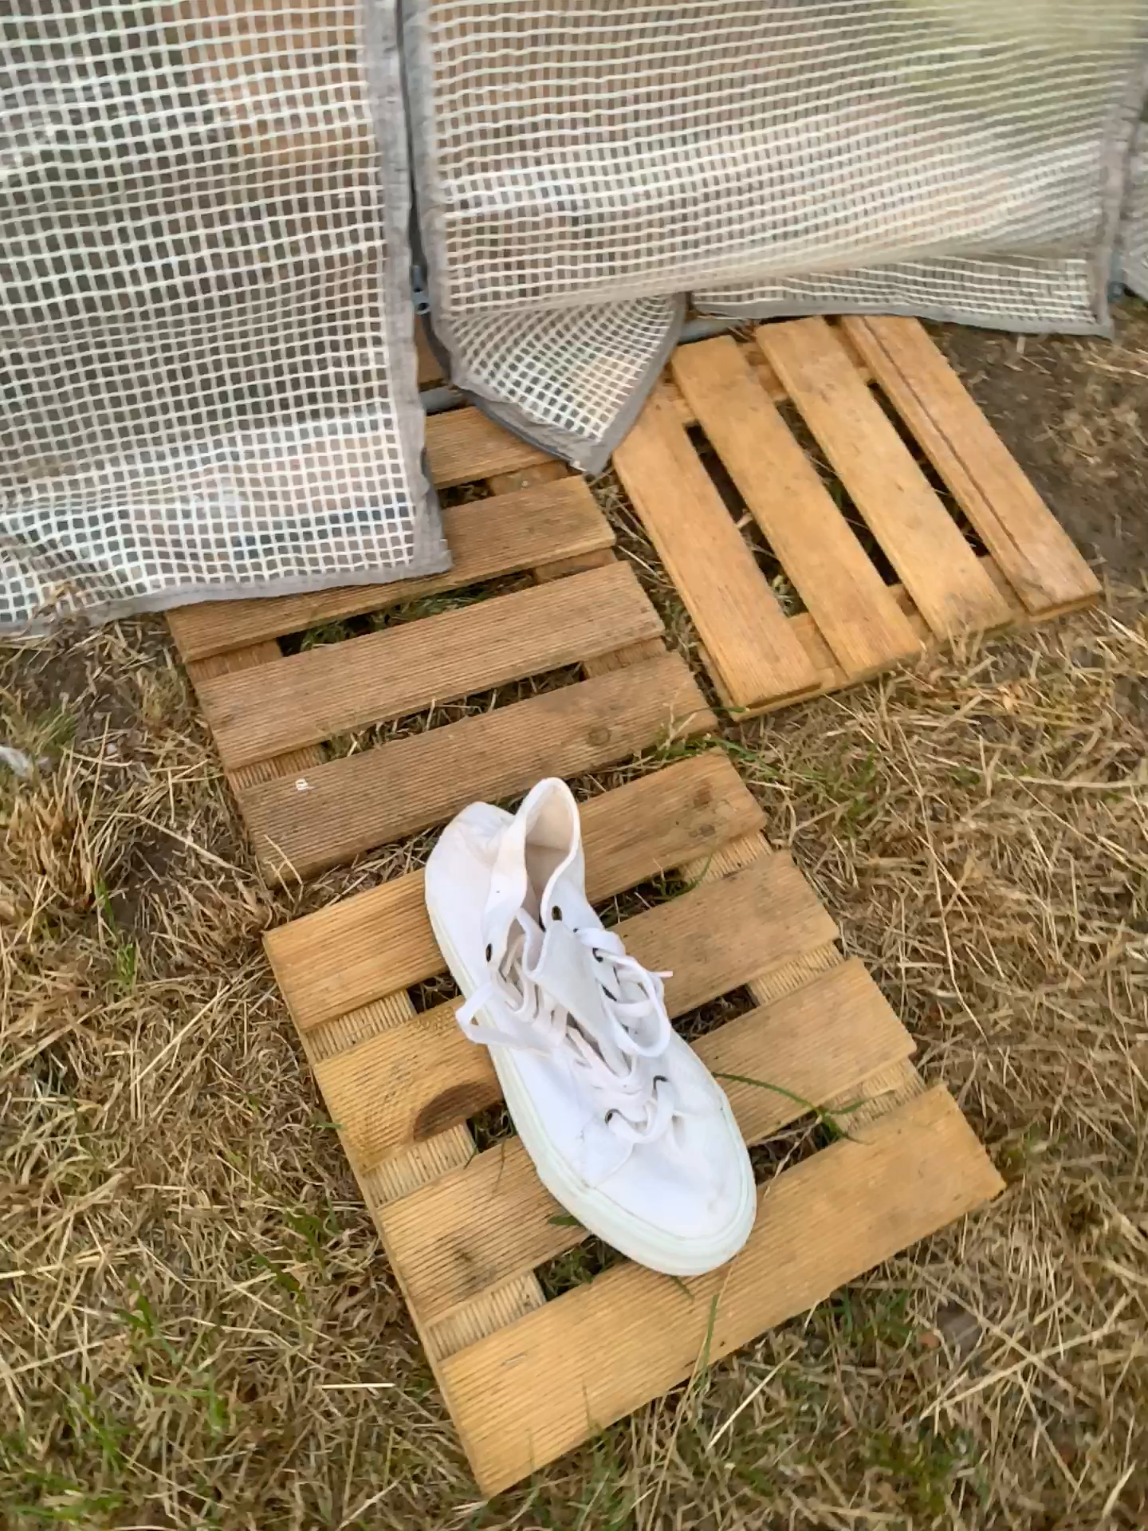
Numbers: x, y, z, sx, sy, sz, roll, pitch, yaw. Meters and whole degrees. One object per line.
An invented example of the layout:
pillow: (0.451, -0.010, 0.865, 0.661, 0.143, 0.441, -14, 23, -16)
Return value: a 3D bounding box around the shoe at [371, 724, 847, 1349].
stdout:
shoe: (0.003, 0.124, 0.575, 0.100, 0.109, 0.262, -23, 60, -19)
